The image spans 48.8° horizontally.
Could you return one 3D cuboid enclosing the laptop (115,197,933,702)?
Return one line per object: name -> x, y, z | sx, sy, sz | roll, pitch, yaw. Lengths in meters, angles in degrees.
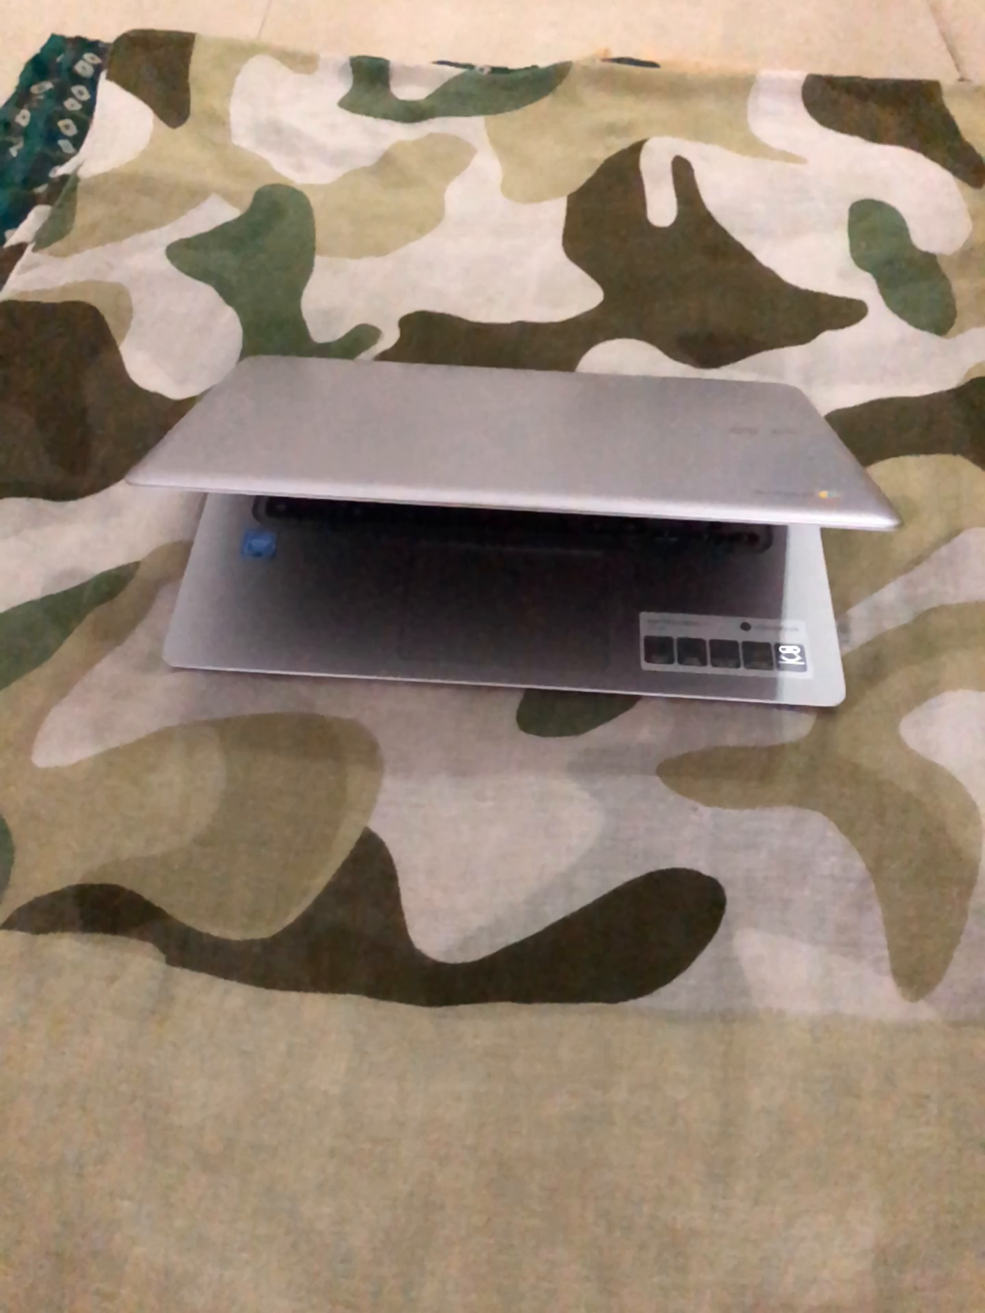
laptop -> 0.015, -0.111, 0.541 | 0.311, 0.124, 0.234 | 3, 50, 2
